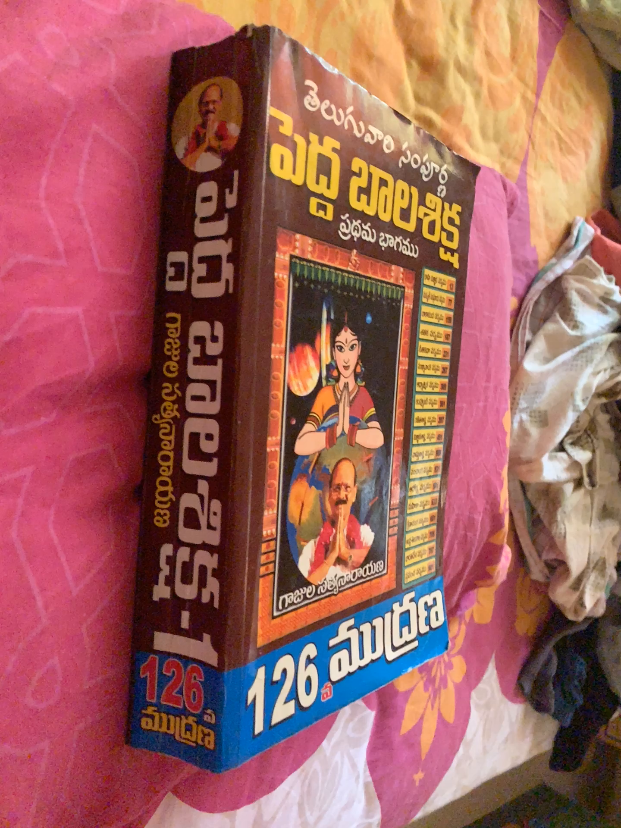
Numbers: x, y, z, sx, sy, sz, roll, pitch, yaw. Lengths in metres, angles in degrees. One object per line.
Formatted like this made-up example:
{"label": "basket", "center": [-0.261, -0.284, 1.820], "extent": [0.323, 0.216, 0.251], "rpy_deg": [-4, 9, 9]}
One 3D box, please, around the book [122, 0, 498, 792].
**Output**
{"label": "book", "center": [0.015, -0.013, 0.283], "extent": [0.181, 0.050, 0.260], "rpy_deg": [1, 92, -50]}
